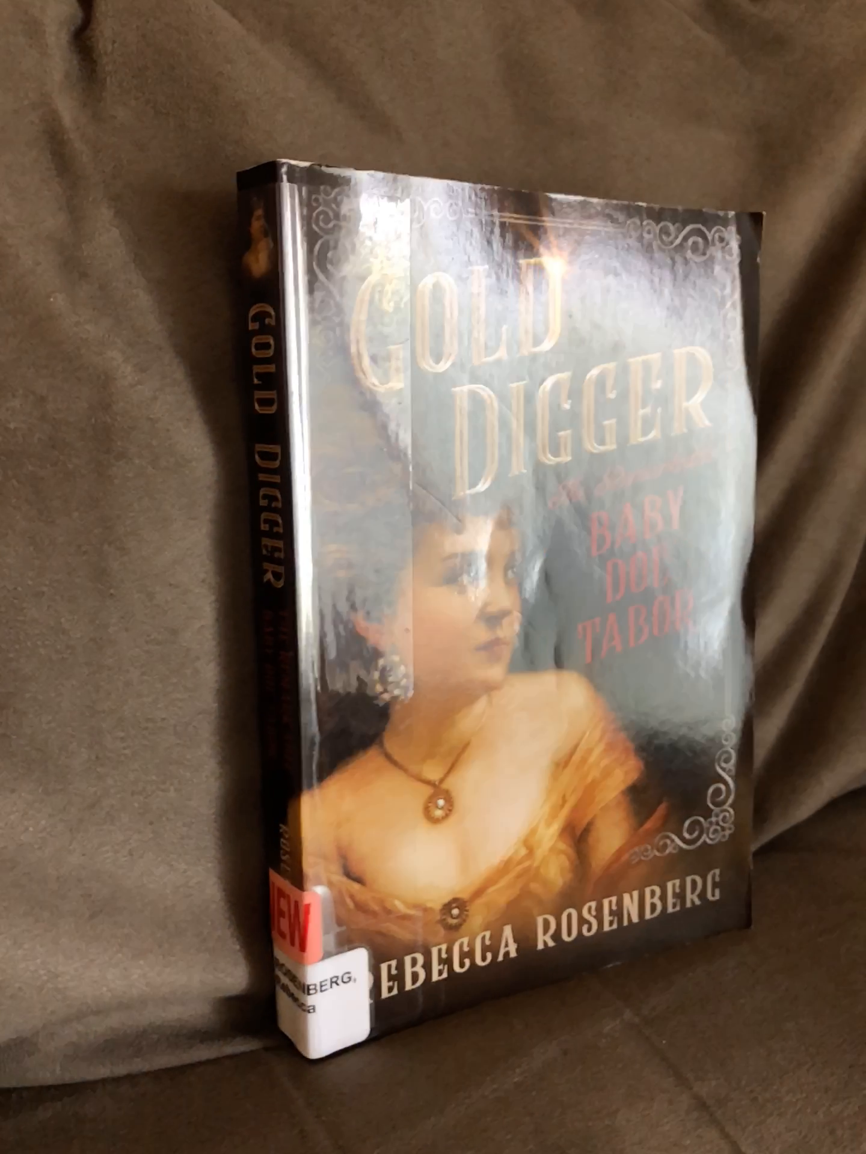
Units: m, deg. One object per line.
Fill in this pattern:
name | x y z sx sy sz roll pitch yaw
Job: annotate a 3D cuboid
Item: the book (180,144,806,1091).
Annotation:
book | 0.024 0.005 0.245 0.150 0.200 0.030 -7 7 -23
